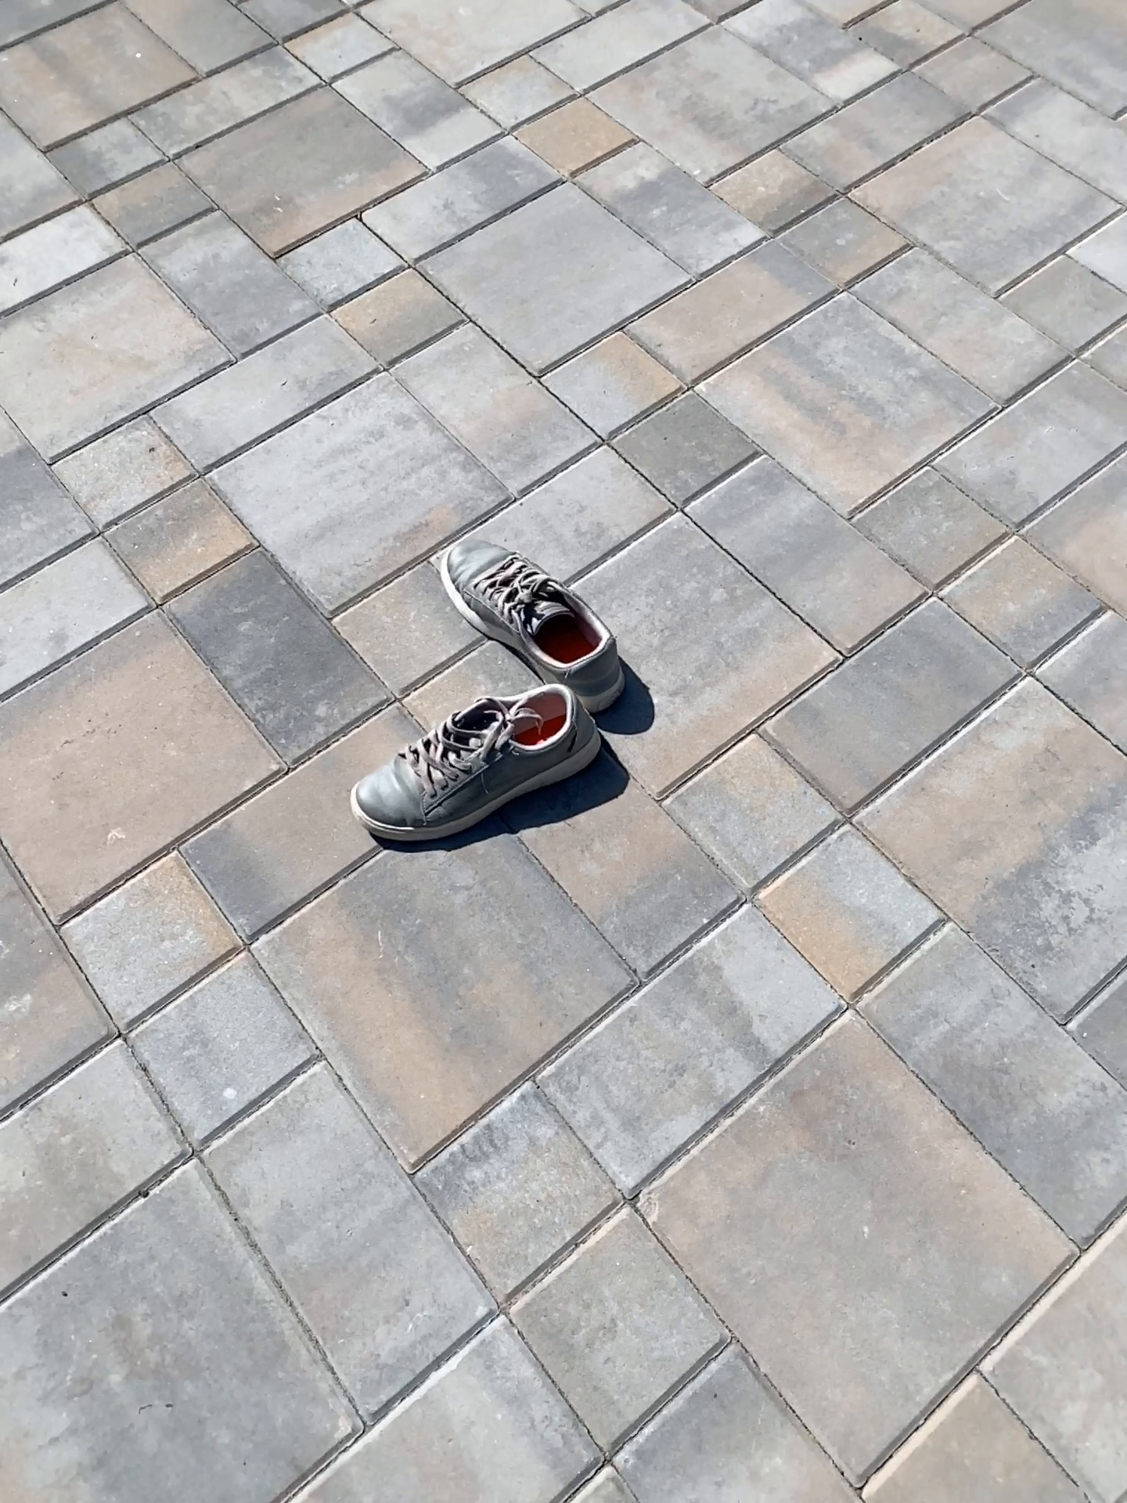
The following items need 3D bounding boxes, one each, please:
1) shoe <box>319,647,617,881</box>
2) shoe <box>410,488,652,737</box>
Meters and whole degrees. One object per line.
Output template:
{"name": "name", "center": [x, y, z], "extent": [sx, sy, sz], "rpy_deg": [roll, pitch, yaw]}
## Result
{"name": "shoe", "center": [-0.103, 0.014, 1.294], "extent": [0.300, 0.110, 0.120], "rpy_deg": [-23, 64, -11]}
{"name": "shoe", "center": [-0.042, -0.172, 1.395], "extent": [0.120, 0.090, 0.301], "rpy_deg": [-38, 68, -18]}
